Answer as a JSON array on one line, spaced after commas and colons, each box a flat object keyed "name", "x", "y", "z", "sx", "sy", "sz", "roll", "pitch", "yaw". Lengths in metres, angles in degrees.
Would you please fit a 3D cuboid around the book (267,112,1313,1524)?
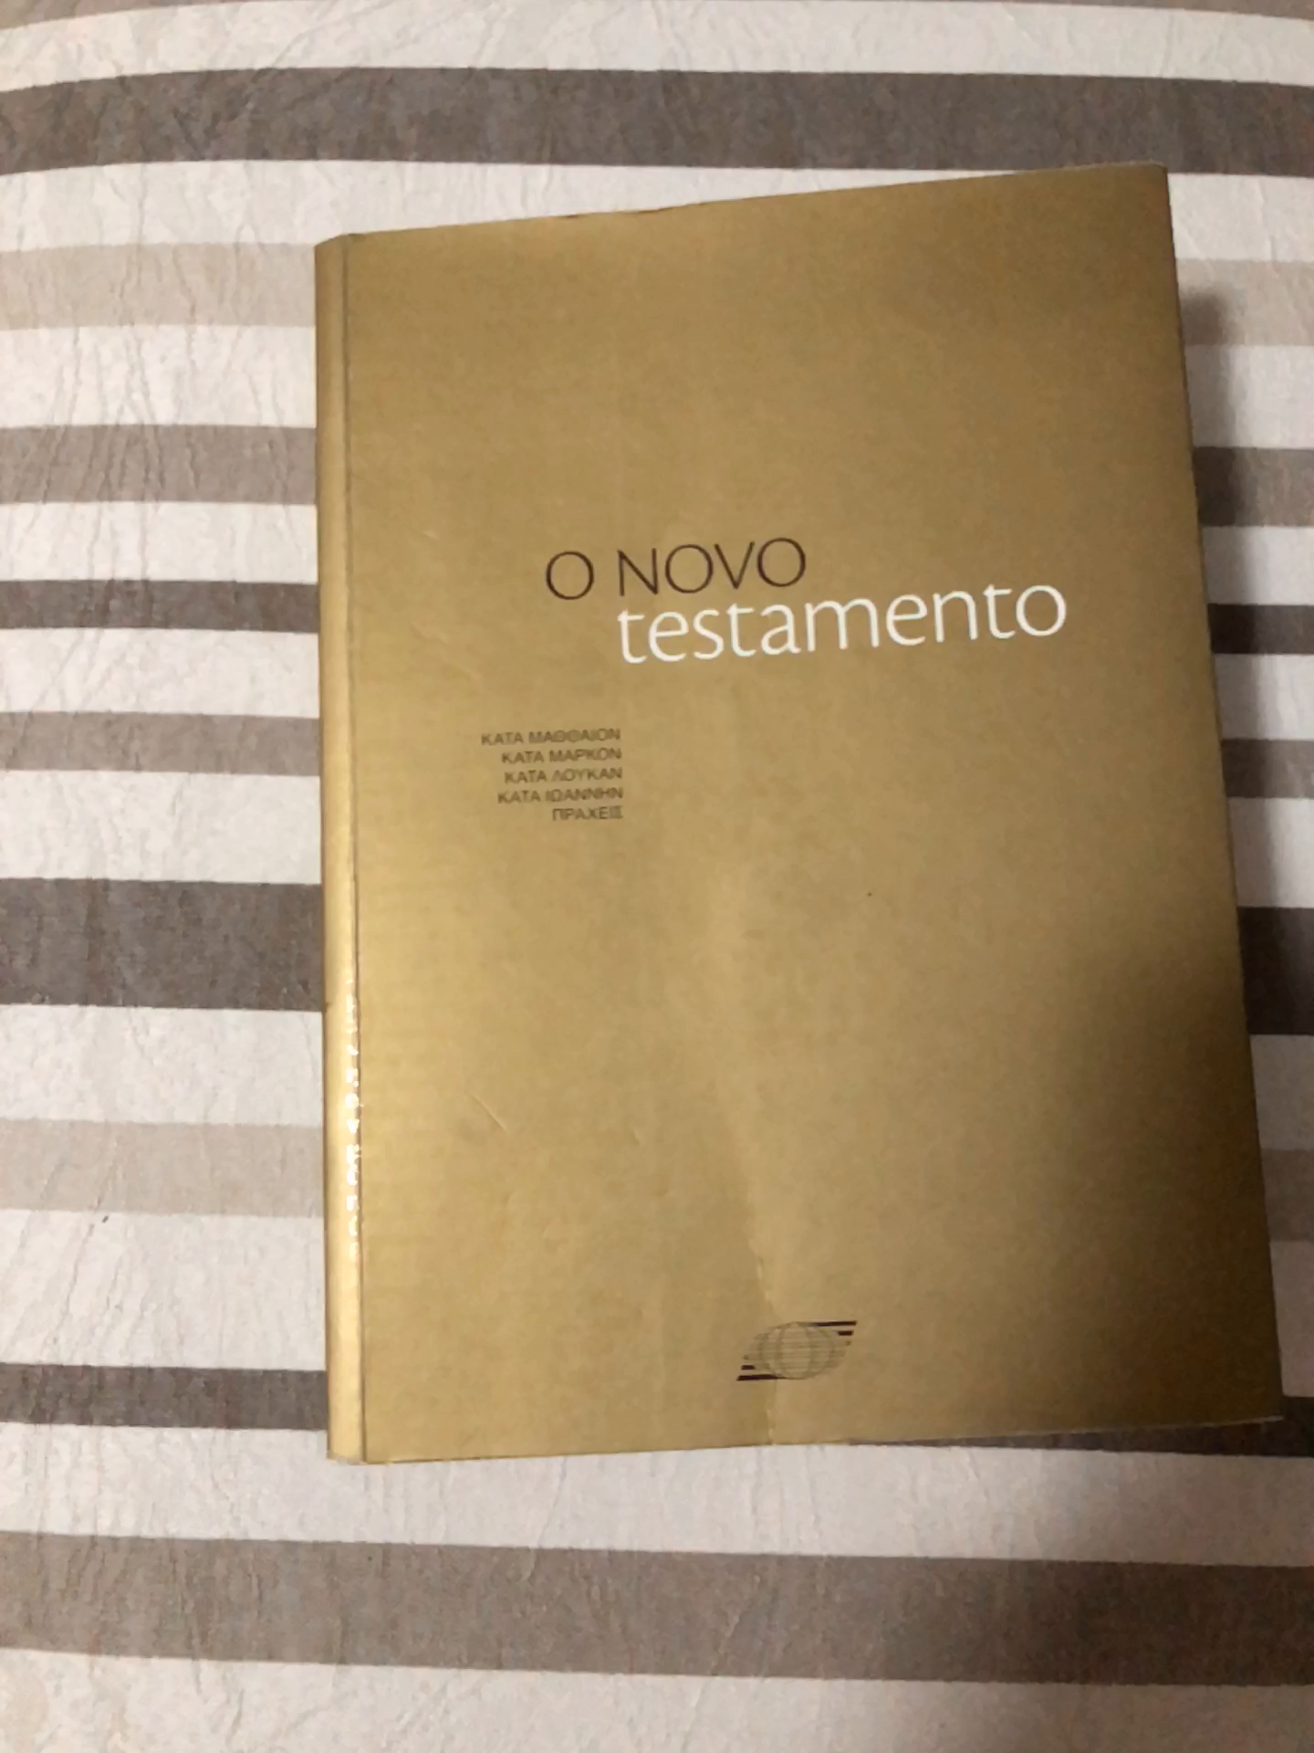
[{"name": "book", "x": 0.016, "y": -0.015, "z": 0.264, "sx": 0.160, "sy": 0.050, "sz": 0.230, "roll": -3, "pitch": 80, "yaw": 0}]
